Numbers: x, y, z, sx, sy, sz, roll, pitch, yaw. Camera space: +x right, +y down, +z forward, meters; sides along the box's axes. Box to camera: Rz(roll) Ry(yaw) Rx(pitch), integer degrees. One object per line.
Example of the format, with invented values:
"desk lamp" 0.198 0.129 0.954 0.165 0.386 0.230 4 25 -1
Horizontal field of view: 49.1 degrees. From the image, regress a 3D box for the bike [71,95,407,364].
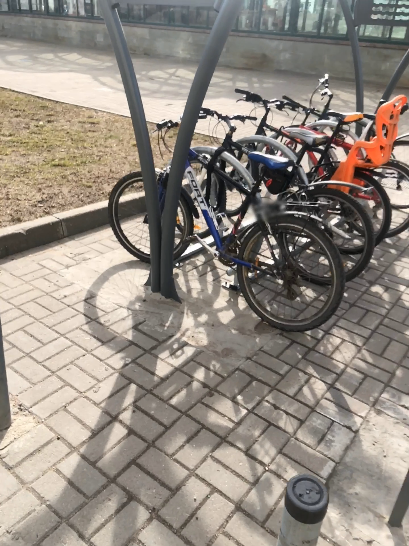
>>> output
"bike" 0.085 -0.365 2.604 1.662 0.959 0.629 24 35 30
